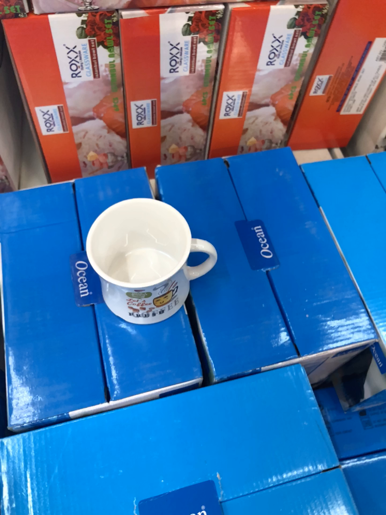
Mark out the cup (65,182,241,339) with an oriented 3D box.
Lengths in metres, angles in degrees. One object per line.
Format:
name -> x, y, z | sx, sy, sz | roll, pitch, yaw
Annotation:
cup -> -0.030, 0.003, 0.306 | 0.100, 0.070, 0.070 | -10, 61, -11
